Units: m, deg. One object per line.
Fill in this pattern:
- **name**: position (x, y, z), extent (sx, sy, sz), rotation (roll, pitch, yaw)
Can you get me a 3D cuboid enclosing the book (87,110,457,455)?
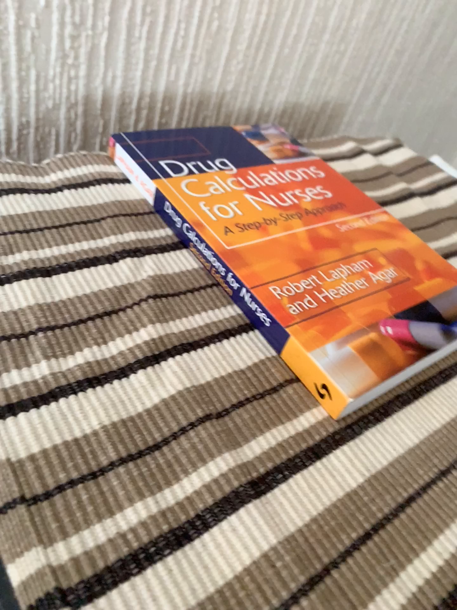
- **book**: position (0.037, -0.044, 0.260), extent (0.141, 0.020, 0.221), rotation (-17, 54, -35)
